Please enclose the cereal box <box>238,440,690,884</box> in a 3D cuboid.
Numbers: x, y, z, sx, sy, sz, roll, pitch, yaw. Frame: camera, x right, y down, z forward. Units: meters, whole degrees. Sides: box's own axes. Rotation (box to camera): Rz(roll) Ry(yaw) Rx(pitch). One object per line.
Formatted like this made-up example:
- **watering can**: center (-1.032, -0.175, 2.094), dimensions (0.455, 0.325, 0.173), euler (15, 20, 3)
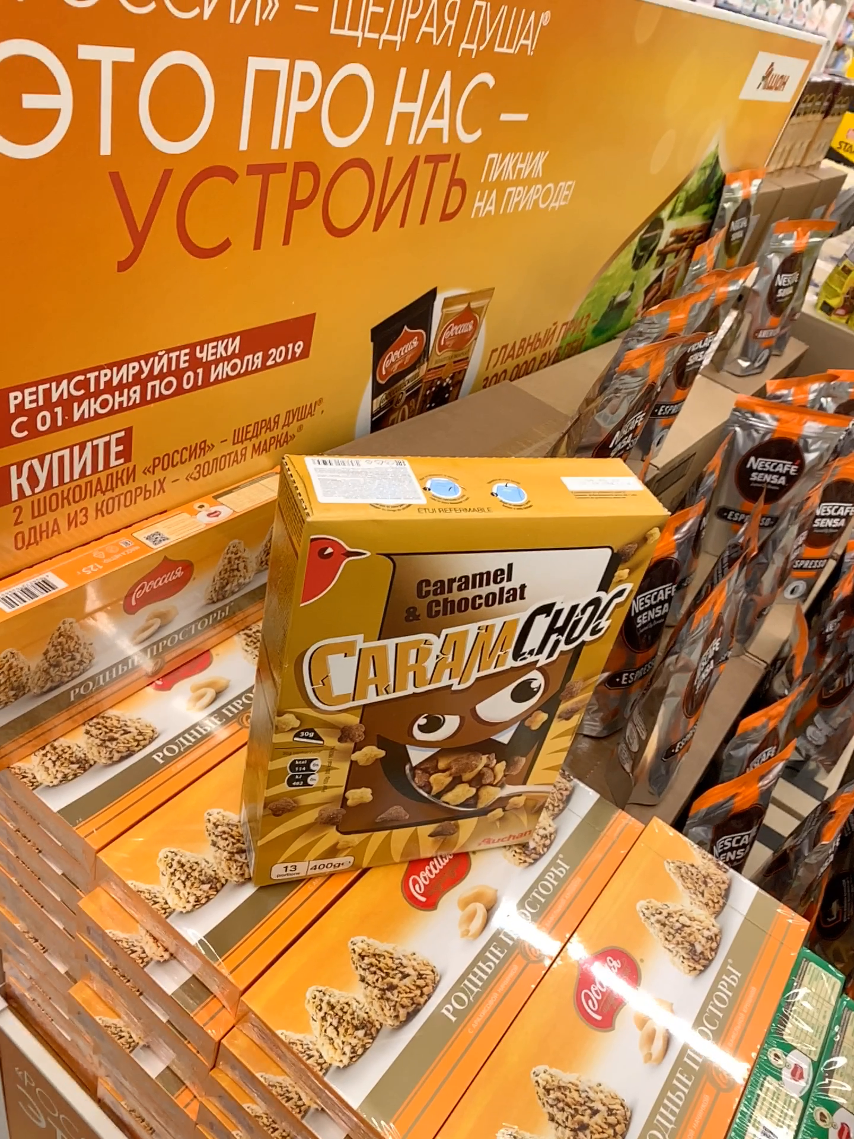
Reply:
- **cereal box**: center (0.005, 0.063, 0.521), dimensions (0.200, 0.278, 0.060), euler (-1, 39, -21)
